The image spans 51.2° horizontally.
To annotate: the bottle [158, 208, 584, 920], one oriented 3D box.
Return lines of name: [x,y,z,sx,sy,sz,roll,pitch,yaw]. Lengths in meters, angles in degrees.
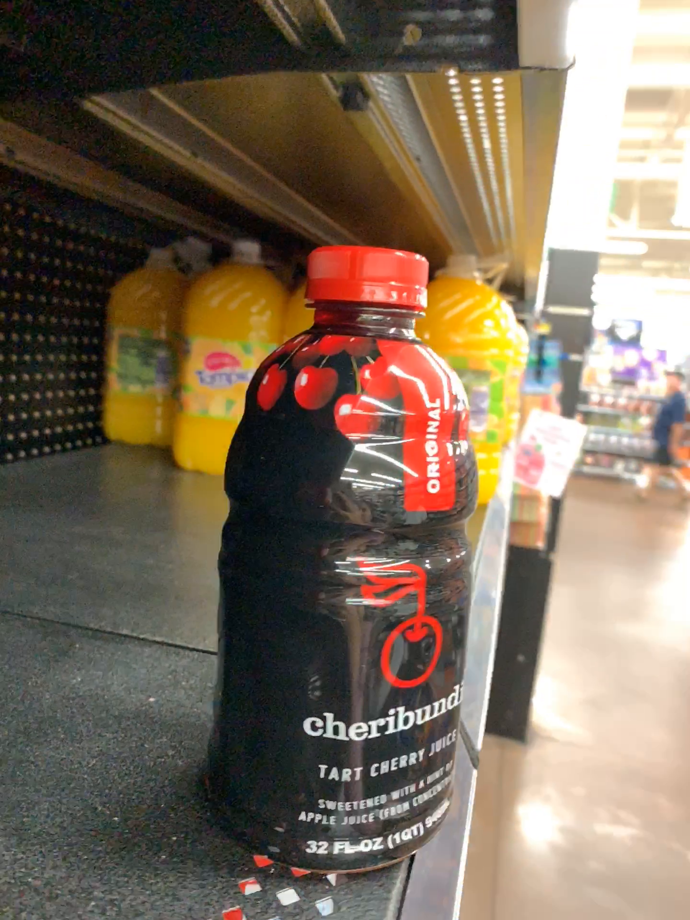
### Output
bottle: [0.001,0.031,0.253,0.095,0.205,0.090,6,9,-1]
